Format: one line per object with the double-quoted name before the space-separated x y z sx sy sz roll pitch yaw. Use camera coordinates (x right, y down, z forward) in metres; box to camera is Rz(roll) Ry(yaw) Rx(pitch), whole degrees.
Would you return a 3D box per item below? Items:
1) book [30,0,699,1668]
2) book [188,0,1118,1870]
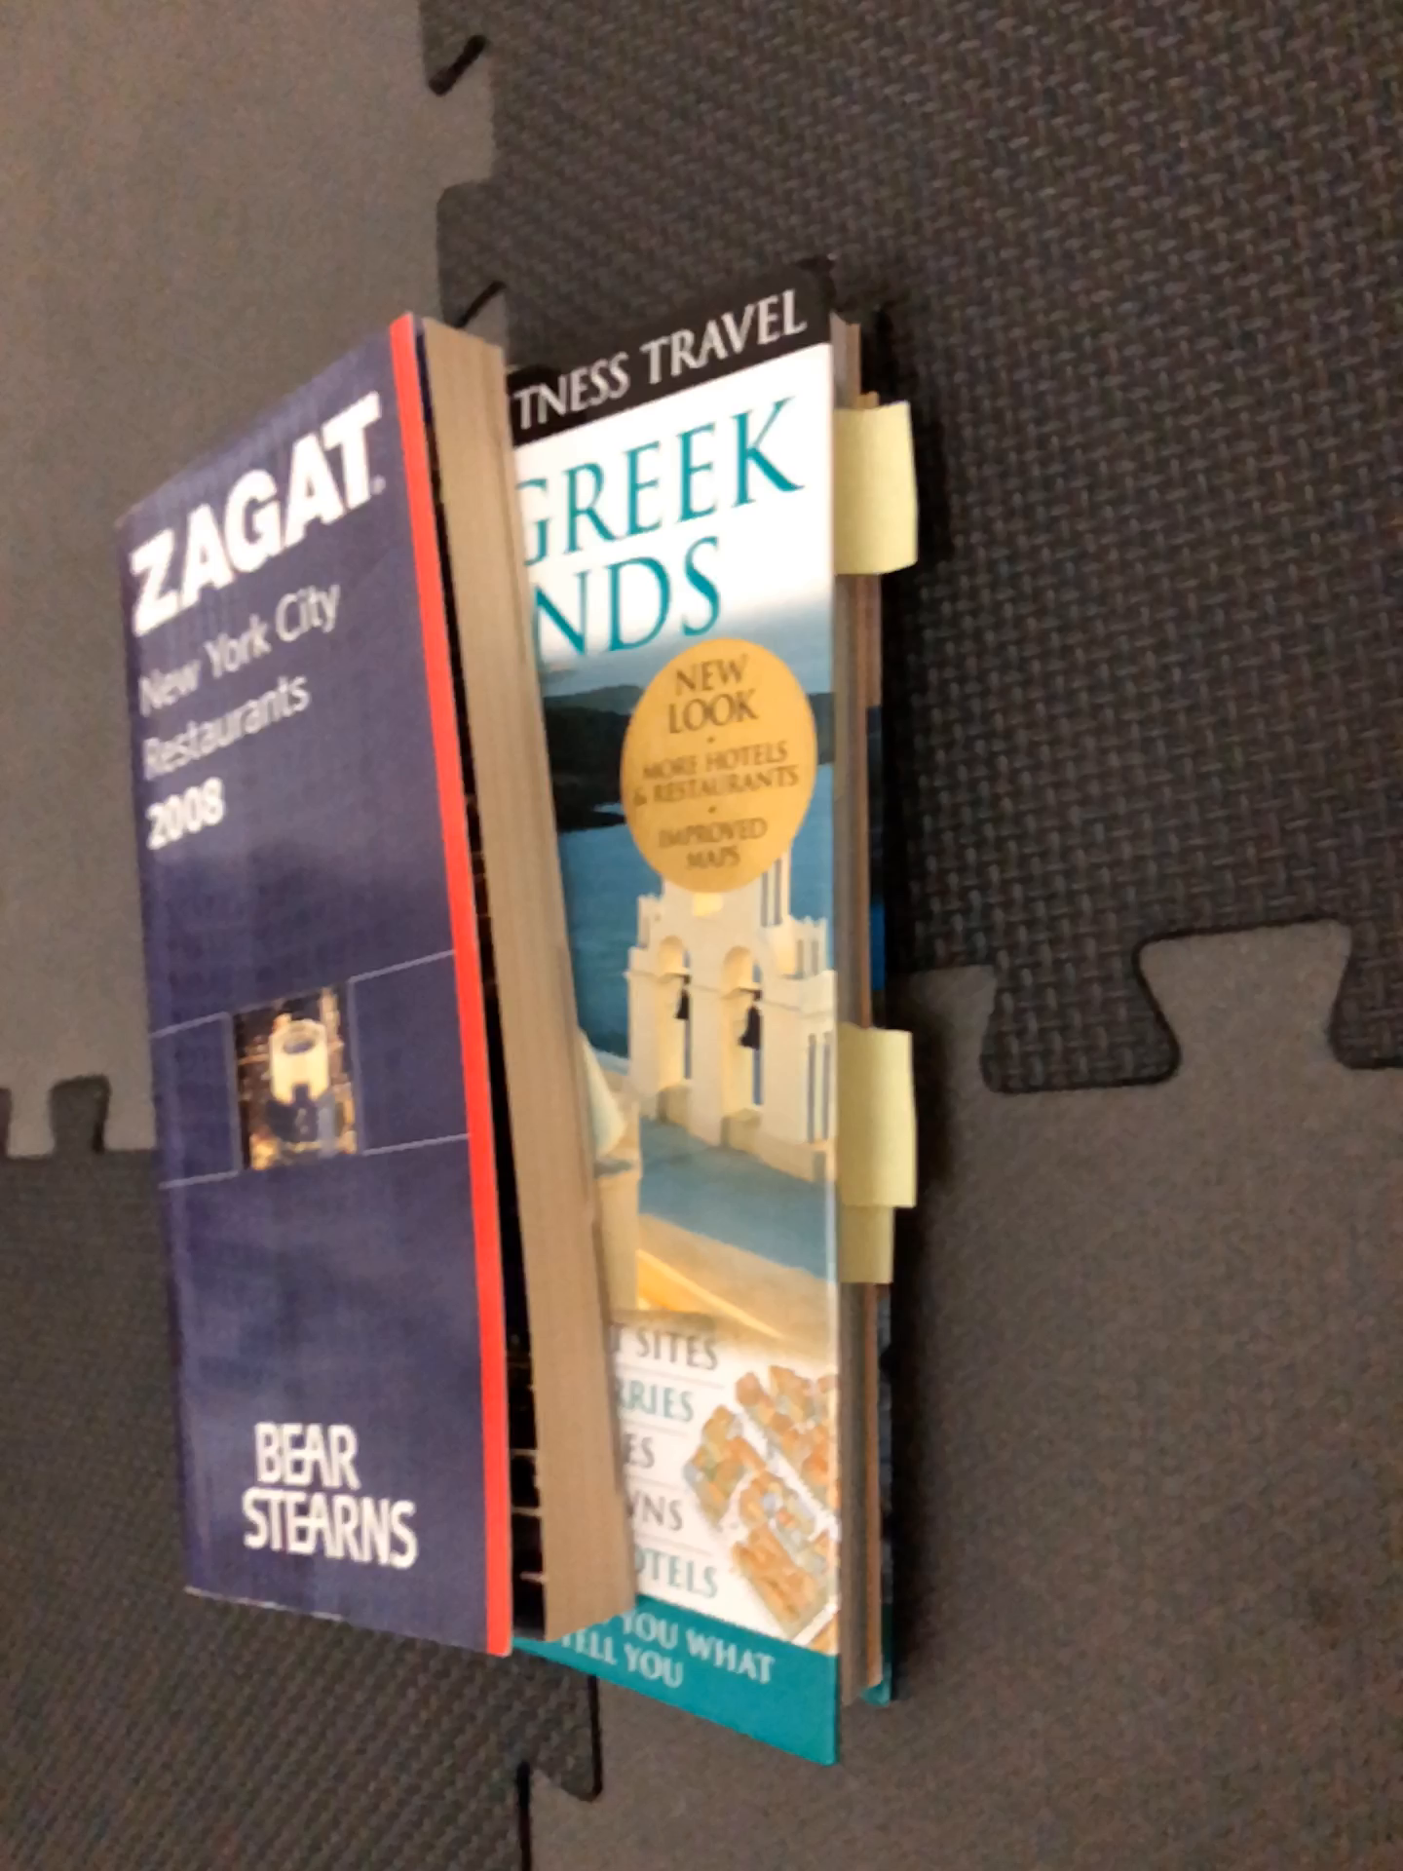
"book" -0.073 -0.015 0.283 0.151 0.020 0.250 -10 81 41
"book" -0.021 -0.008 0.260 0.171 0.030 0.260 1 89 42
